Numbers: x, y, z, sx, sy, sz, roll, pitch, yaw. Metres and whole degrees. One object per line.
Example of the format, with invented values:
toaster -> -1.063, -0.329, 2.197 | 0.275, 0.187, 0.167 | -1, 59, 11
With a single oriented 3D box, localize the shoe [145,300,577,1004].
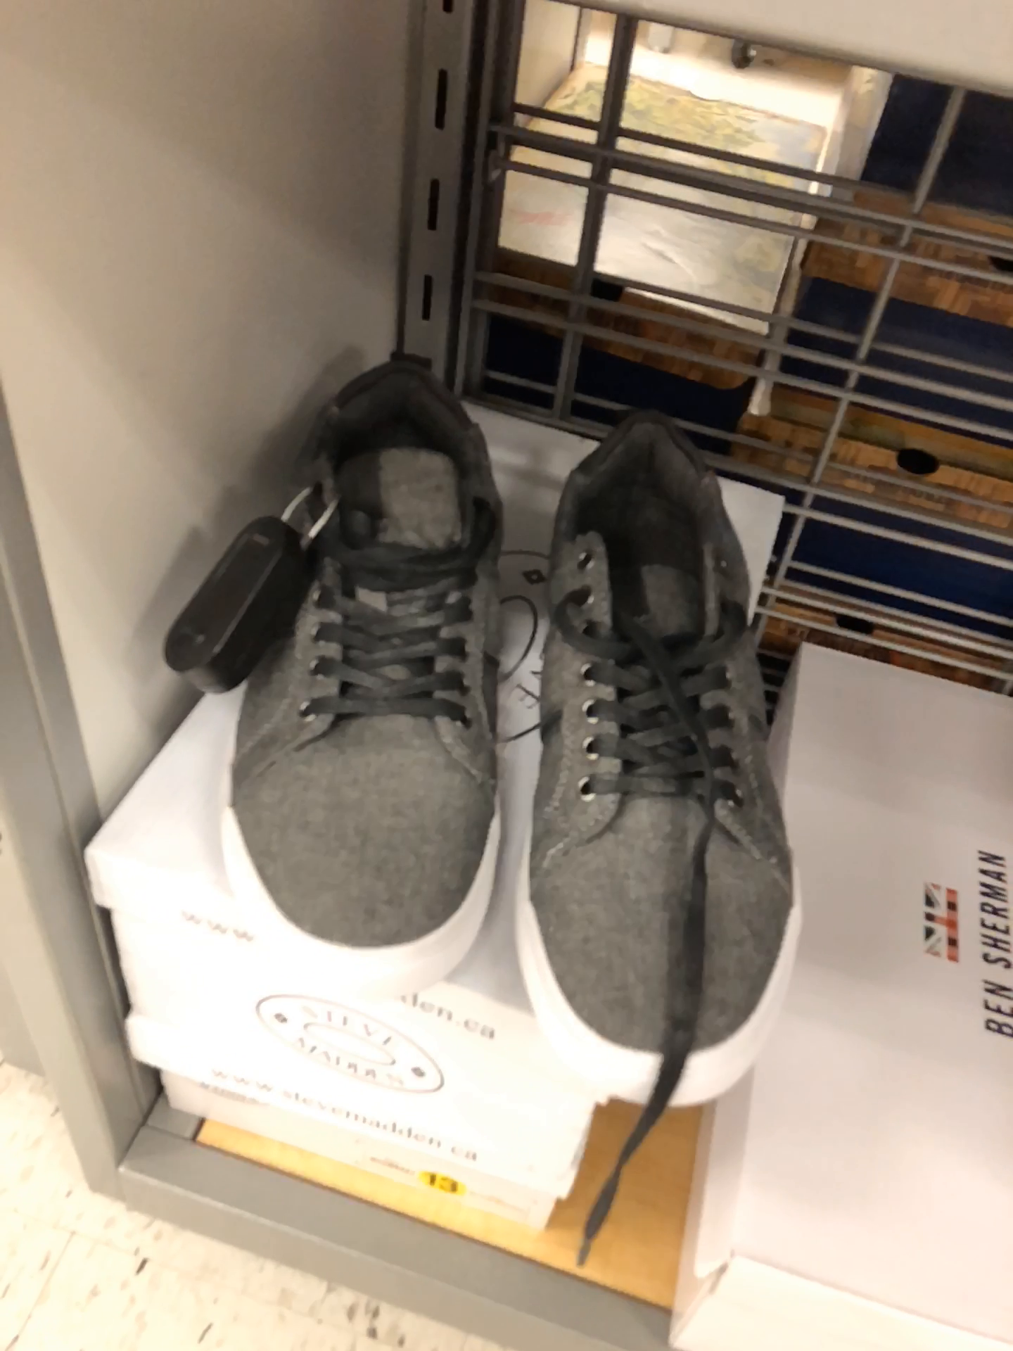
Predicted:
shoe -> -0.044, -0.024, 0.410 | 0.110, 0.106, 0.255 | 4, 45, -5

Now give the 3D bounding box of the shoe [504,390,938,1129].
shoe -> 0.061, 0.014, 0.408 | 0.100, 0.106, 0.255 | 7, 45, -3
